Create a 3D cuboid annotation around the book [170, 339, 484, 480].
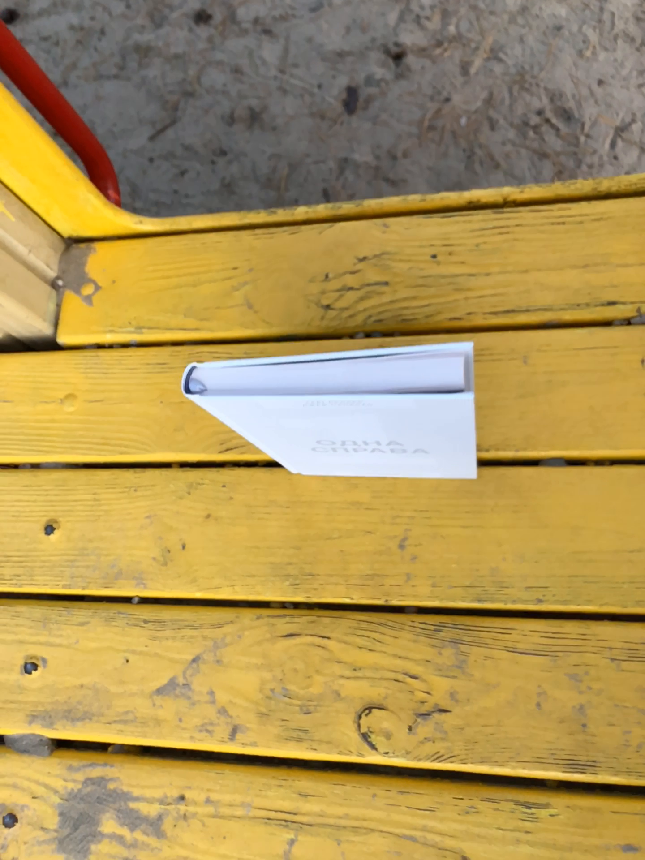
[{"bbox_3d":[0.022,-0.004,0.444,0.154,0.209,0.030,1,76,13],"label":"book"}]
